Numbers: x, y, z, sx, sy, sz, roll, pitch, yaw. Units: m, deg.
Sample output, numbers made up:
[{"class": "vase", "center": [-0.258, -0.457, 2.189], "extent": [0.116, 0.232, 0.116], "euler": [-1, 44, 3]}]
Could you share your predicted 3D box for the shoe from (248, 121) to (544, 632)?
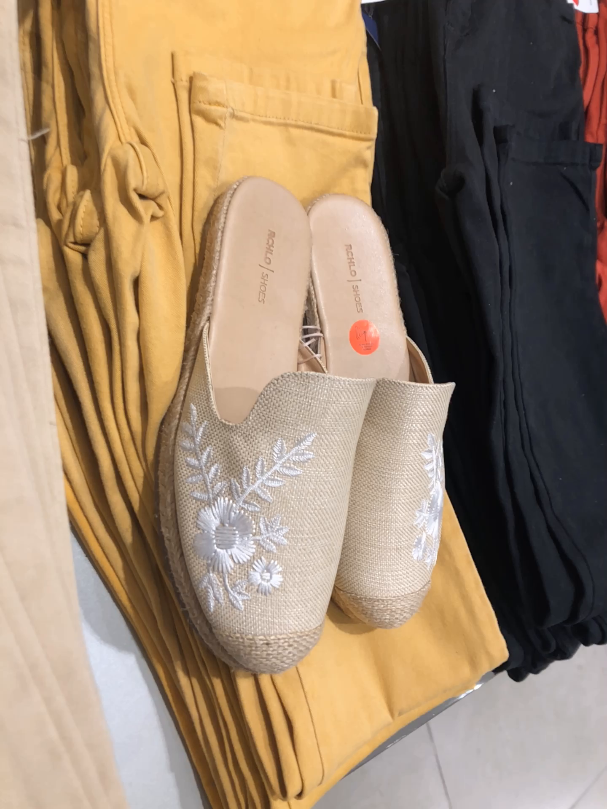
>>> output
[{"class": "shoe", "center": [0.046, -0.014, 0.361], "extent": [0.091, 0.070, 0.240], "euler": [-5, 80, -36]}]

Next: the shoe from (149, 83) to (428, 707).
[{"class": "shoe", "center": [-0.012, -0.005, 0.303], "extent": [0.090, 0.070, 0.240], "euler": [7, 73, -34]}]
